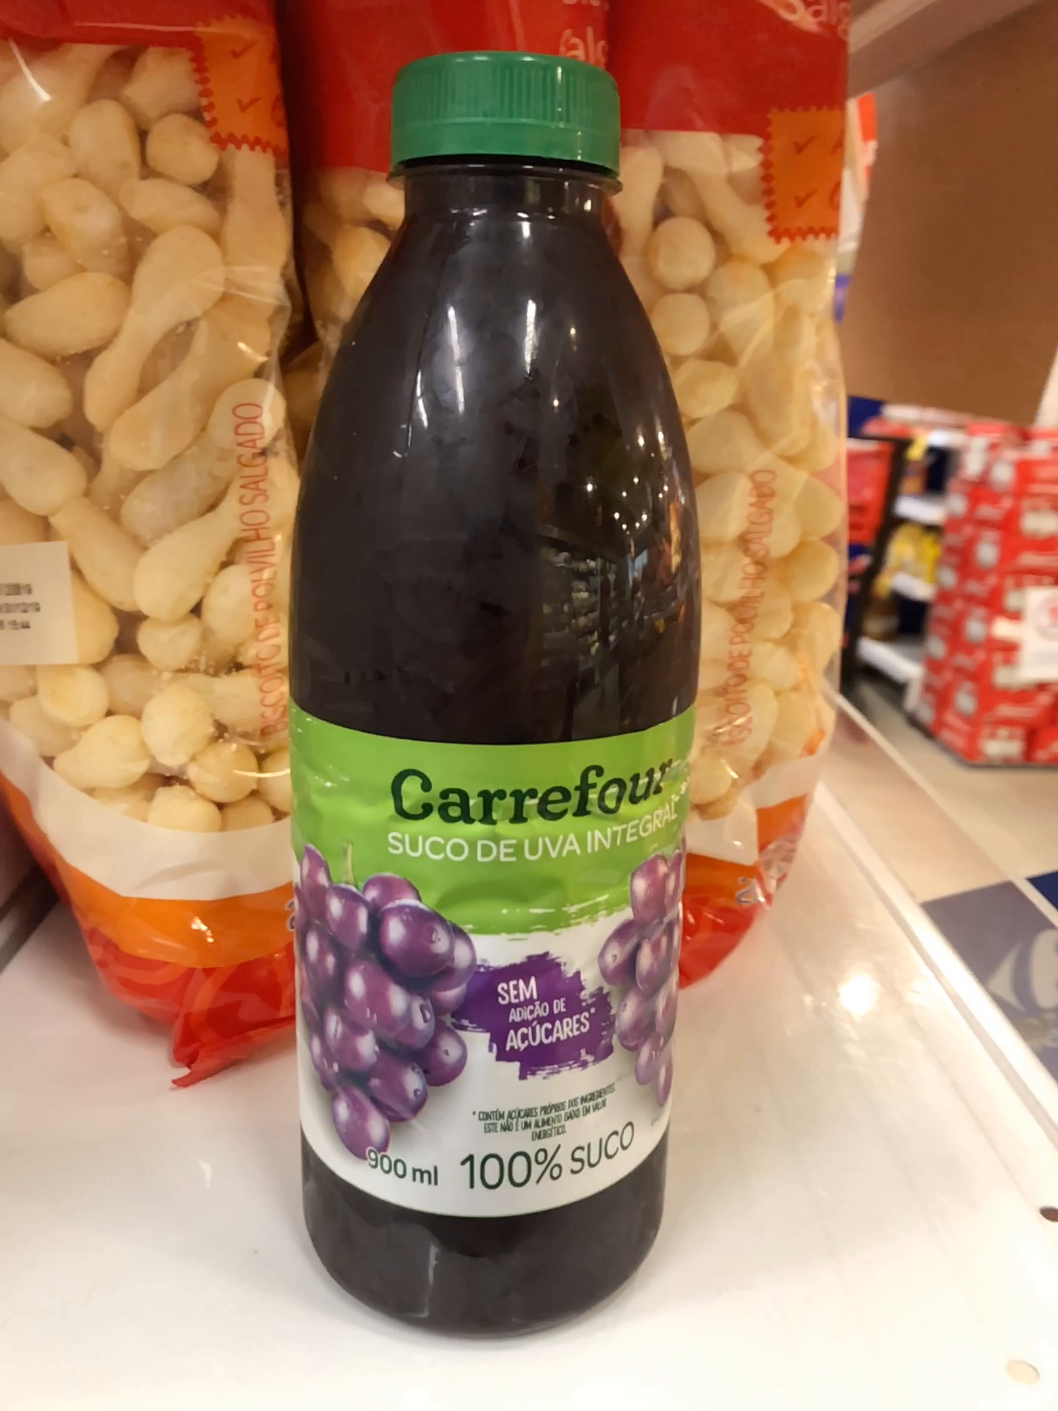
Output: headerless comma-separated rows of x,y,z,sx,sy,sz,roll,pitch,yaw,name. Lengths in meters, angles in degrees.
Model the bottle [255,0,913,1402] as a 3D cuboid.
-0.003,0.002,0.234,0.090,0.229,0.080,-2,17,-20,bottle
